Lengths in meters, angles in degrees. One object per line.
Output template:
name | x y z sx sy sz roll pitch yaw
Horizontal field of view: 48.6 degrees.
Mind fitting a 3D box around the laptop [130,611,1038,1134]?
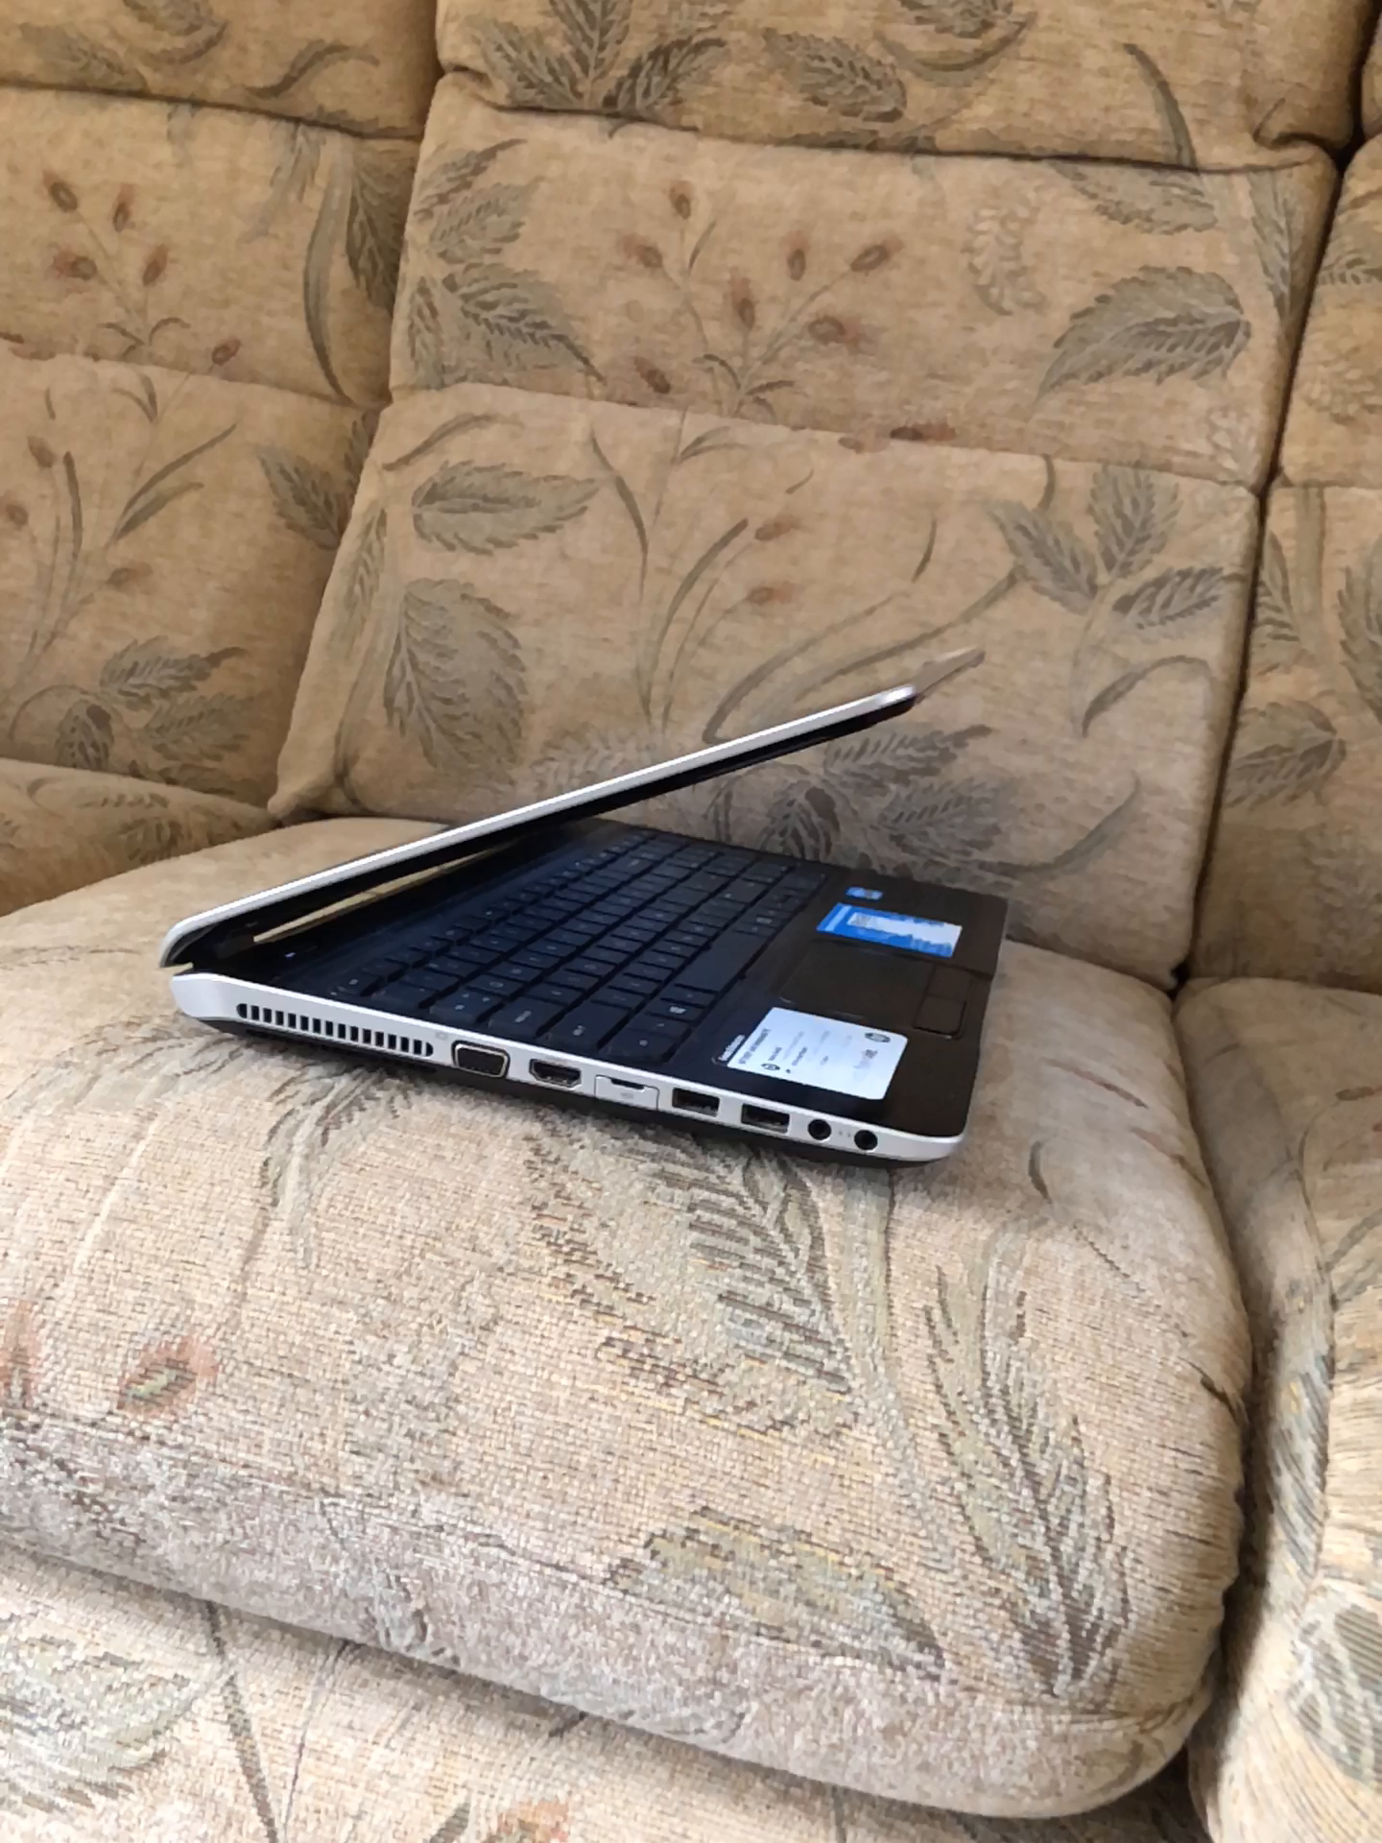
laptop | 0.004 -0.053 0.628 0.254 0.113 0.398 10 14 11
